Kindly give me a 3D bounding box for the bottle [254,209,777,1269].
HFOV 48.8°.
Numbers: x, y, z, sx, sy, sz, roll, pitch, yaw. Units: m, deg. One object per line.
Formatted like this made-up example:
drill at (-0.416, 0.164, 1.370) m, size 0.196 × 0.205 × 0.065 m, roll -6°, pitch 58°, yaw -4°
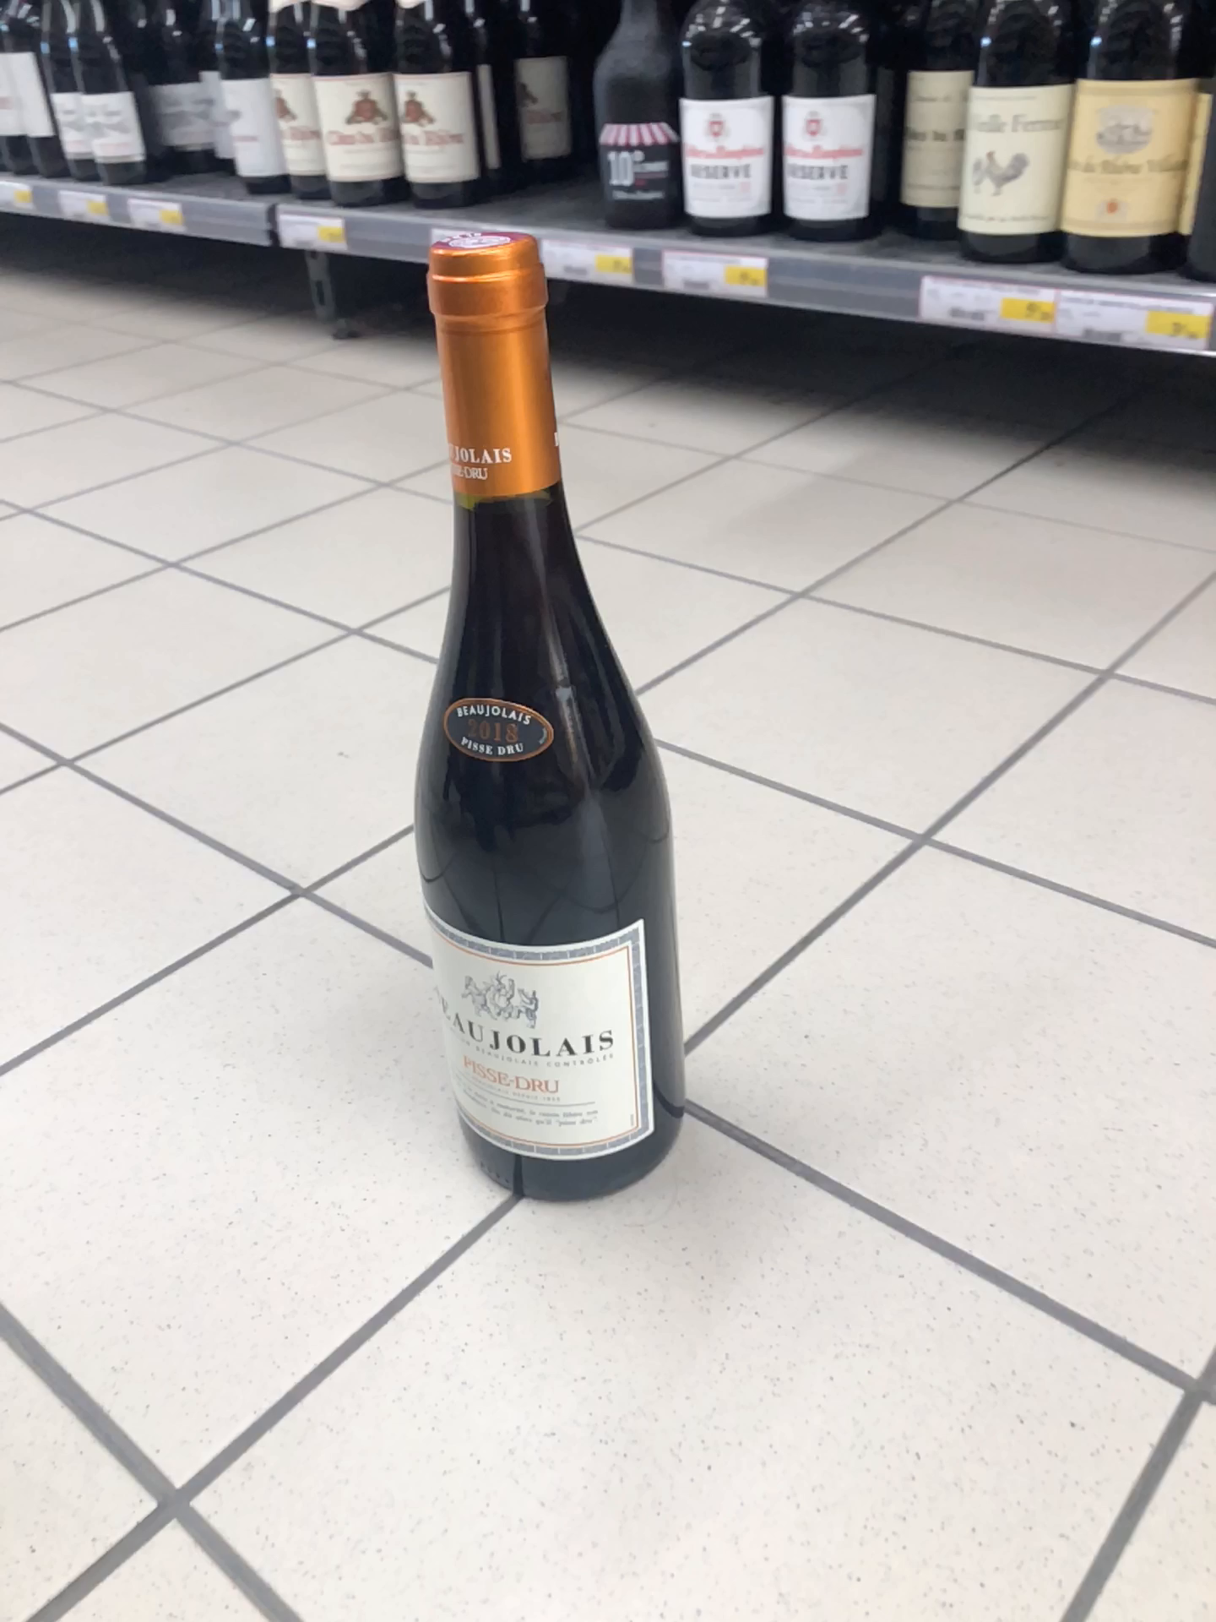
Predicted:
bottle at (-0.012, -0.013, 0.396) m, size 0.090 × 0.288 × 0.091 m, roll -3°, pitch 31°, yaw 2°
